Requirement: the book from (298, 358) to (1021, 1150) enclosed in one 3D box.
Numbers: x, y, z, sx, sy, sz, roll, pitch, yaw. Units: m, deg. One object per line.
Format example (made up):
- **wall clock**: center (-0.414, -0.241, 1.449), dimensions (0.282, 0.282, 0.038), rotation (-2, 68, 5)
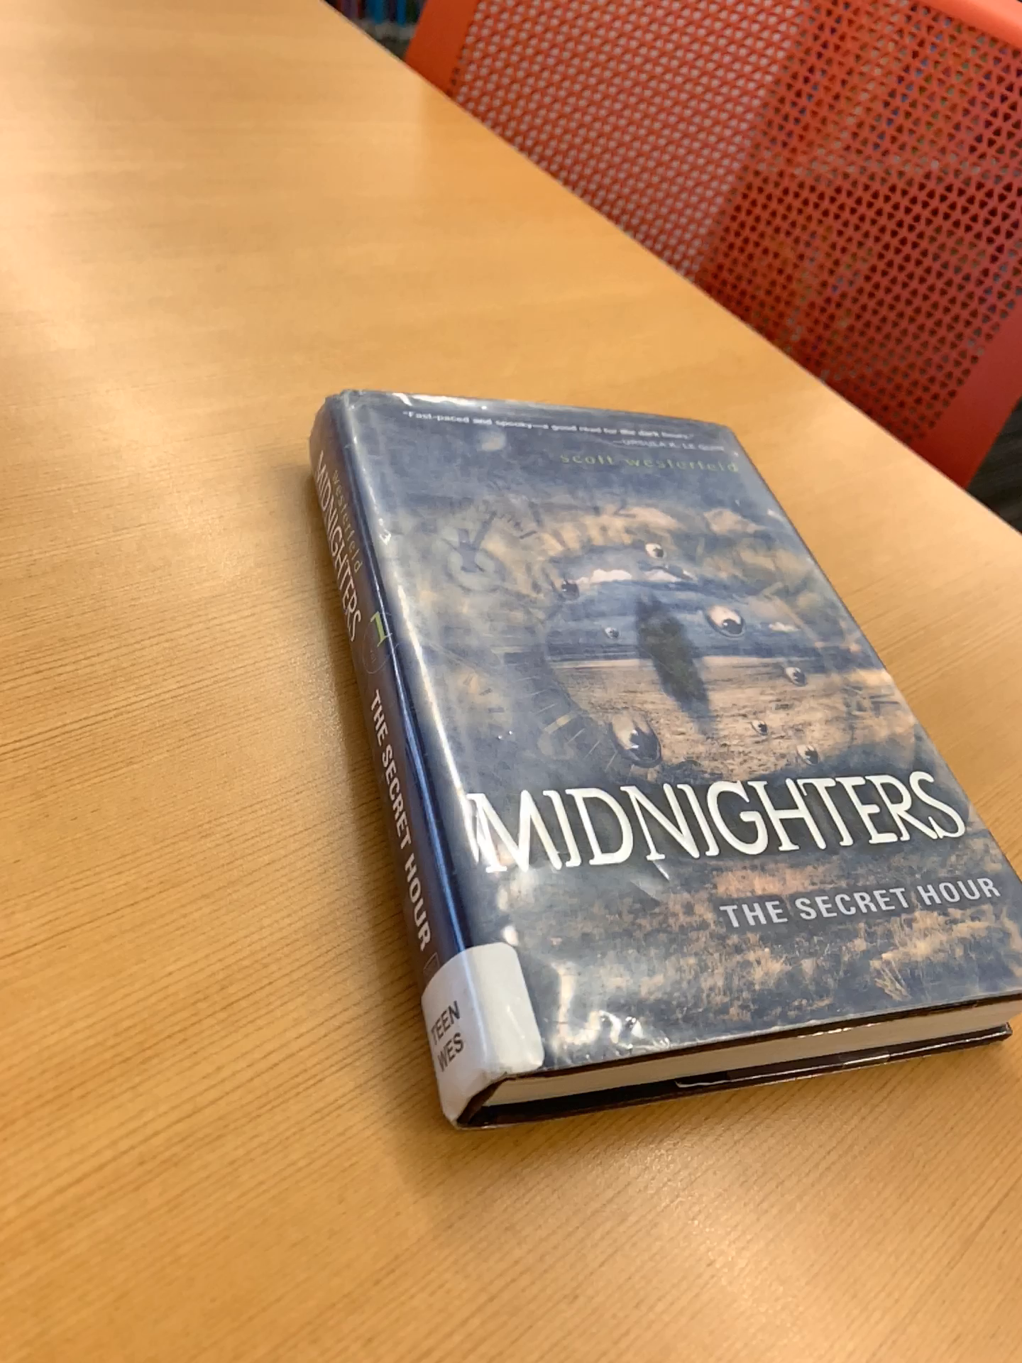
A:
- **book**: center (0.032, -0.003, 0.292), dimensions (0.151, 0.036, 0.221), rotation (0, 49, -21)
